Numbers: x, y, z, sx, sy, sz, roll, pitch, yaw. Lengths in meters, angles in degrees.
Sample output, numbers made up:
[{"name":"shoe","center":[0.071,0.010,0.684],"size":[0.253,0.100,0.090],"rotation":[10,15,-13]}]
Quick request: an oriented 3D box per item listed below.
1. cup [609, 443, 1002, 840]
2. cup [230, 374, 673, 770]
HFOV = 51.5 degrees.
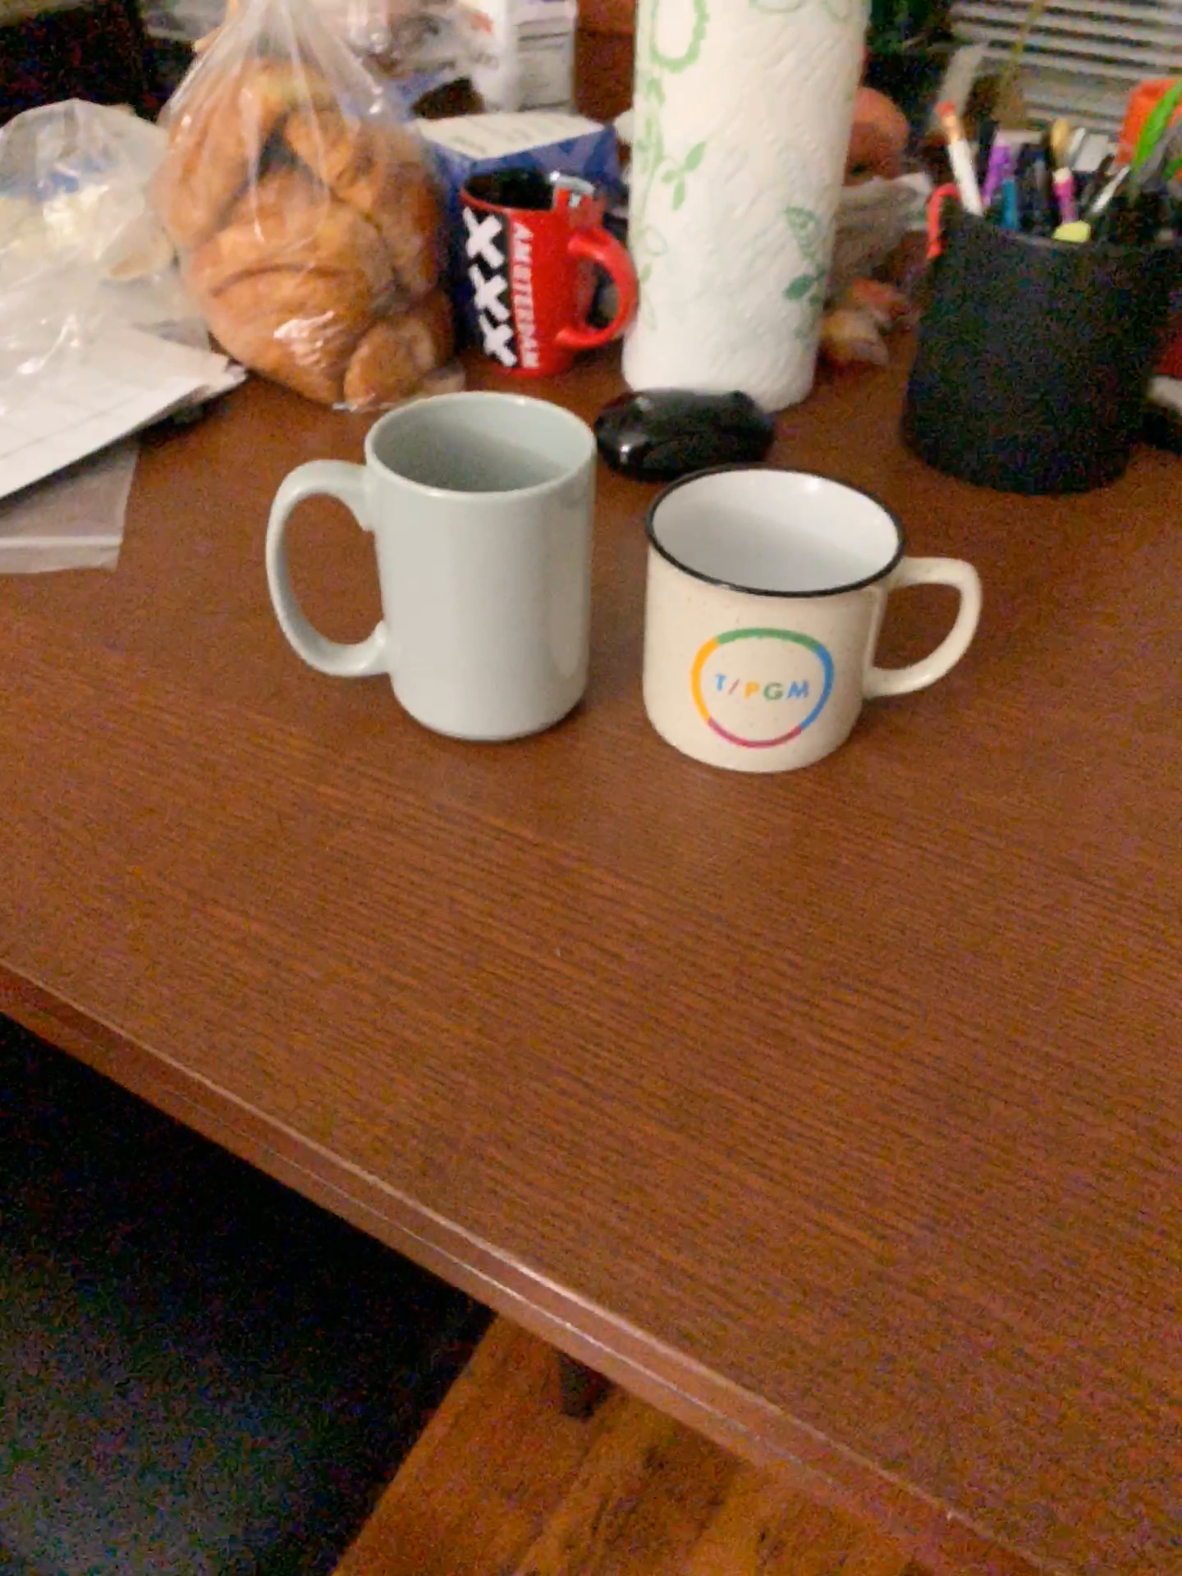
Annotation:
[{"name":"cup","center":[0.083,-0.061,0.488],"size":[0.130,0.099,0.100],"rotation":[10,42,9]},{"name":"cup","center":[-0.048,-0.088,0.487],"size":[0.140,0.099,0.101],"rotation":[10,42,8]}]
